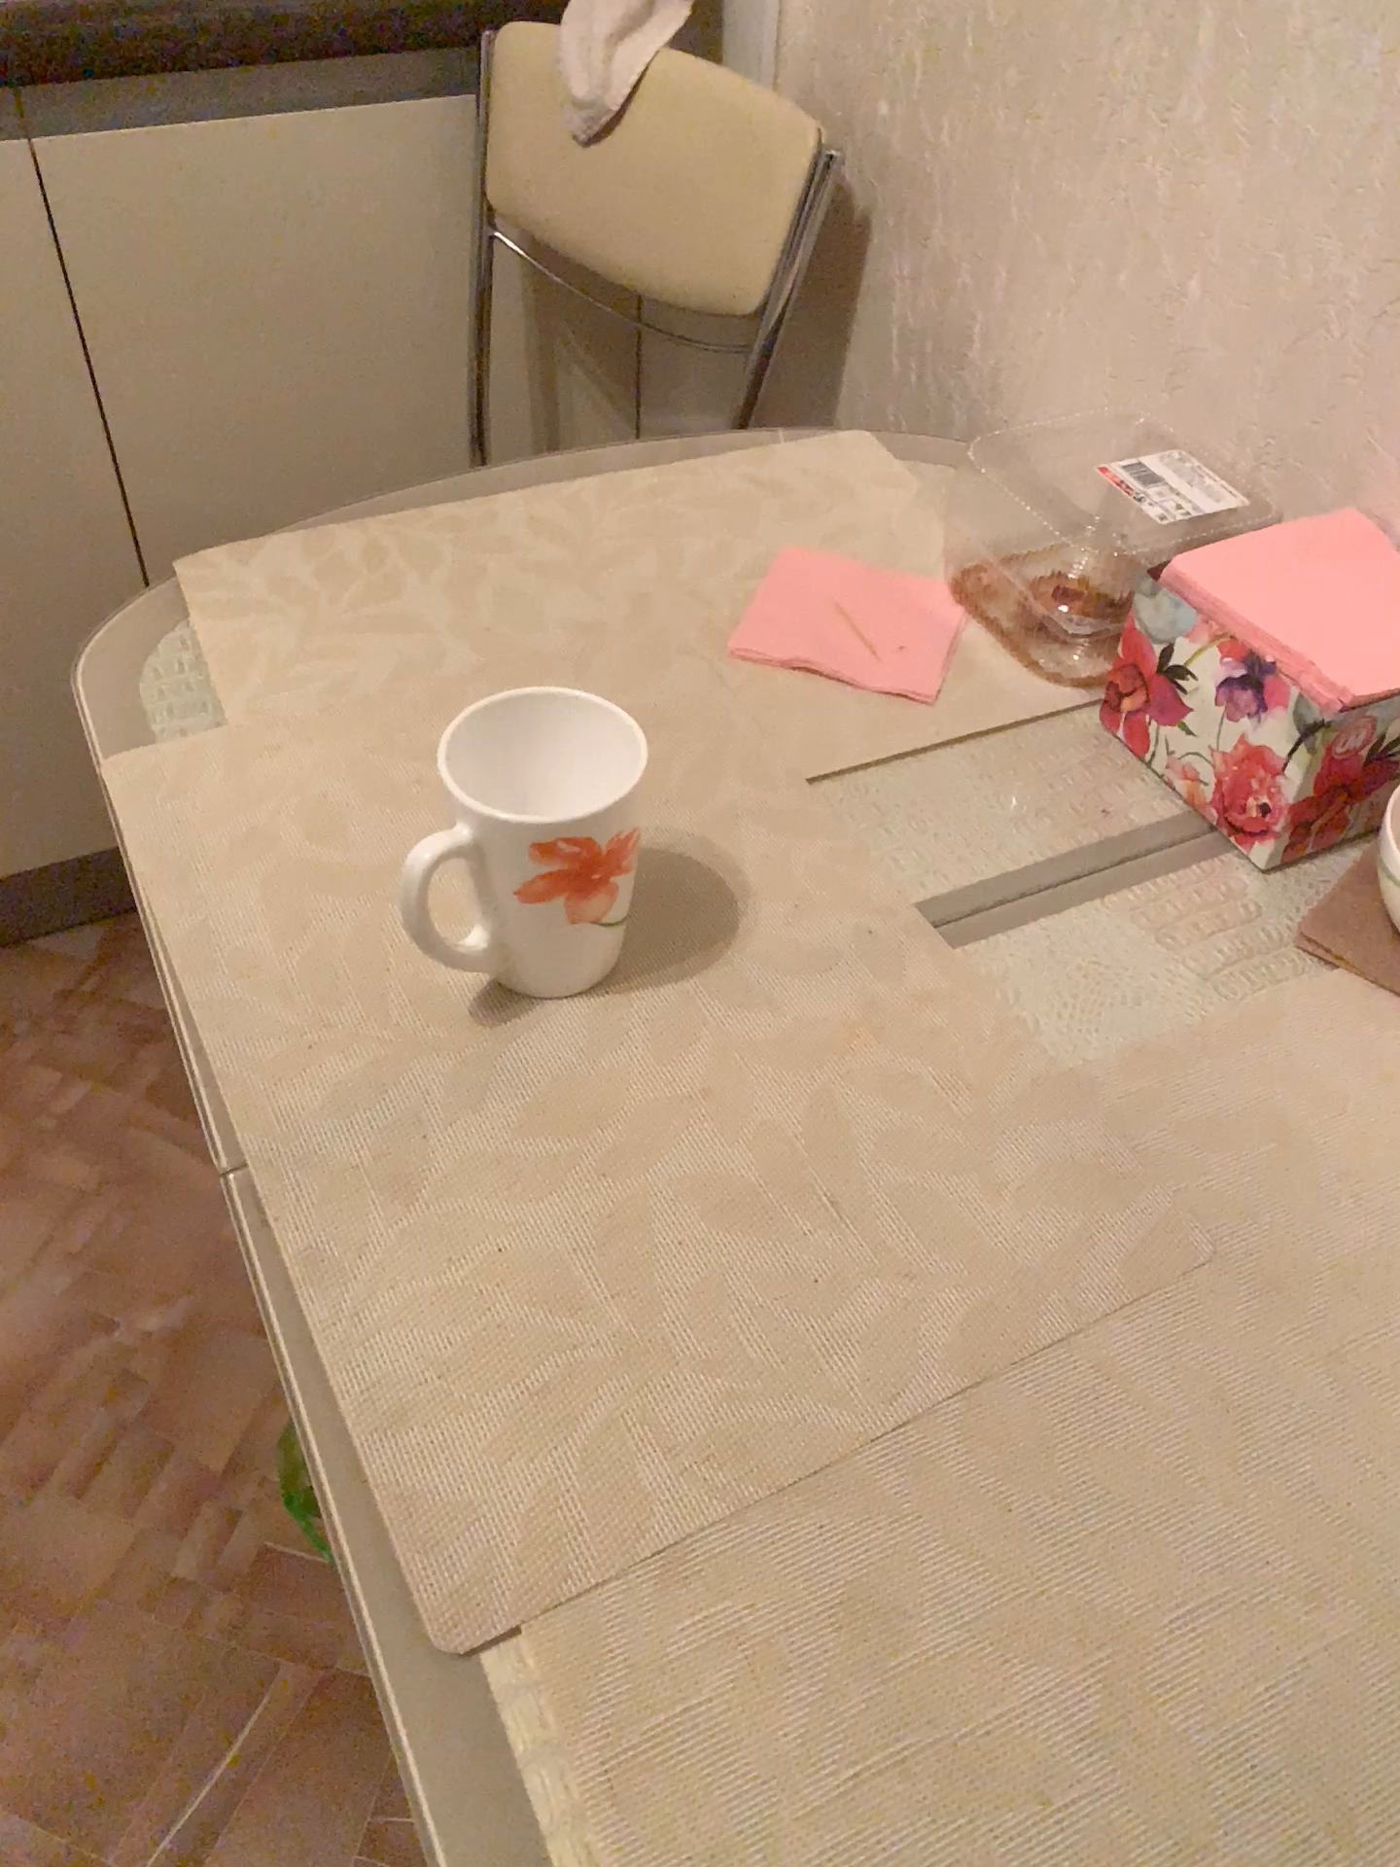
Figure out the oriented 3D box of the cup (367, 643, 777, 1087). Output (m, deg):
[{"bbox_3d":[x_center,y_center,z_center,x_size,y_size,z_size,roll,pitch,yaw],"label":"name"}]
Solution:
[{"bbox_3d":[-0.047,-0.030,0.558,0.121,0.099,0.090,-33,55,-31],"label":"cup"}]
